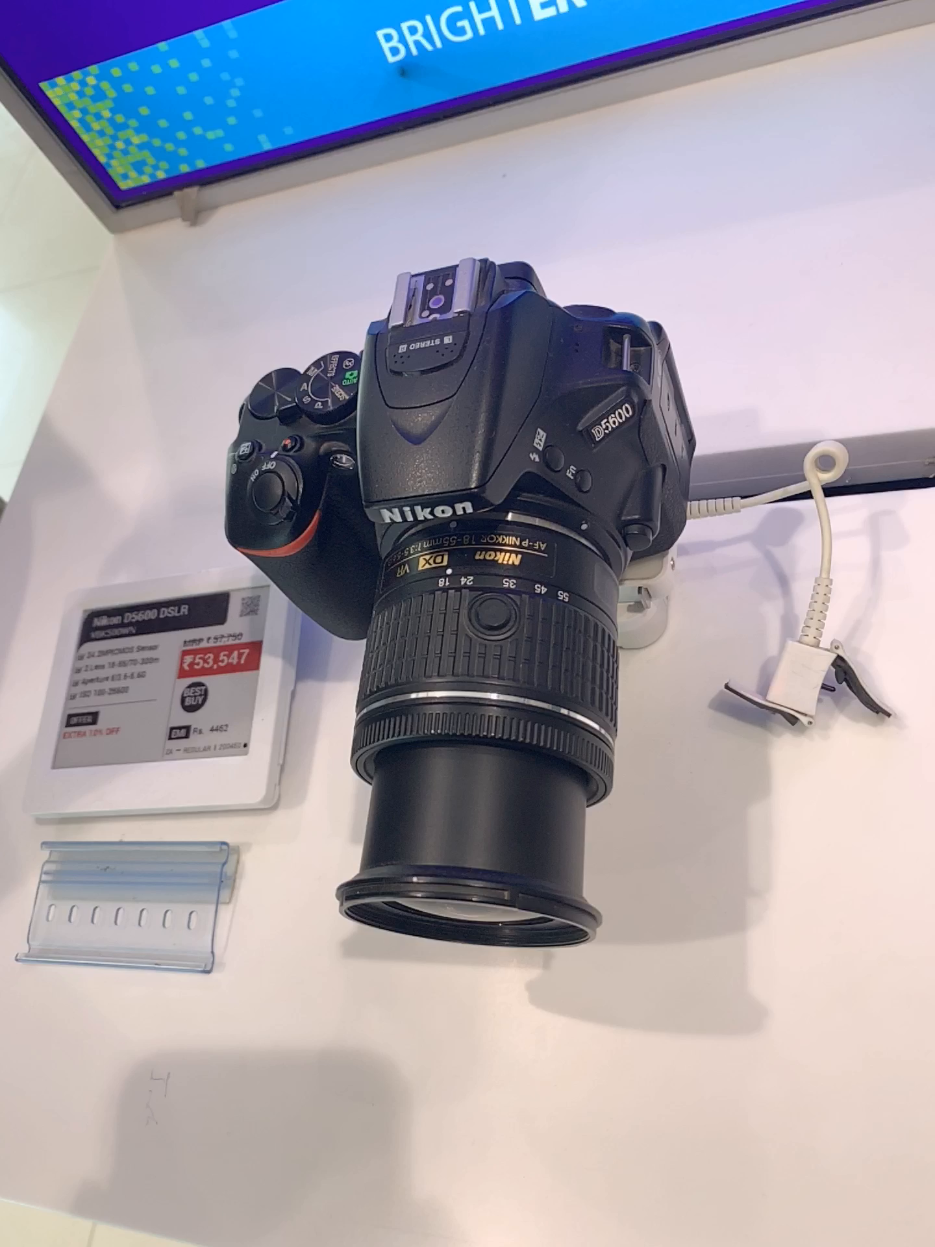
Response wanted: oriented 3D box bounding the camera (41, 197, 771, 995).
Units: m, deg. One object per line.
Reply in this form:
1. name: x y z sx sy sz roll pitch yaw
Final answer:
1. camera: 0.000 0.004 0.228 0.116 0.100 0.141 -7 60 21
